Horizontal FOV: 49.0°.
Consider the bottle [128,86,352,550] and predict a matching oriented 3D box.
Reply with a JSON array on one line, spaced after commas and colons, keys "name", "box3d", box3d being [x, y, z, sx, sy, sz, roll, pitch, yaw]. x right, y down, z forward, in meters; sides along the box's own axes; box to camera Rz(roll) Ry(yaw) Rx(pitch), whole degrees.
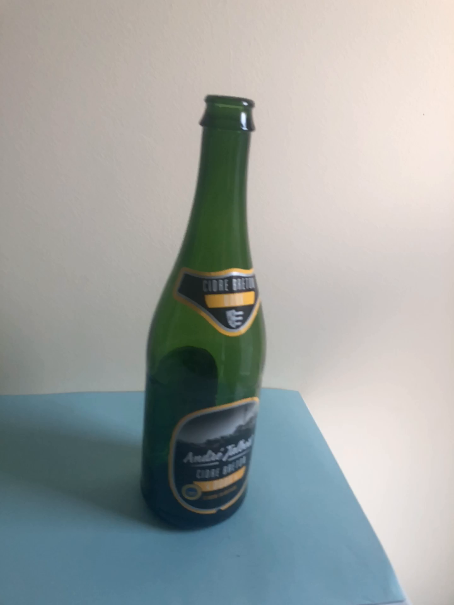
[{"name": "bottle", "box3d": [-0.006, 0.015, 0.326, 0.090, 0.278, 0.080, -6, 26, -26]}]
